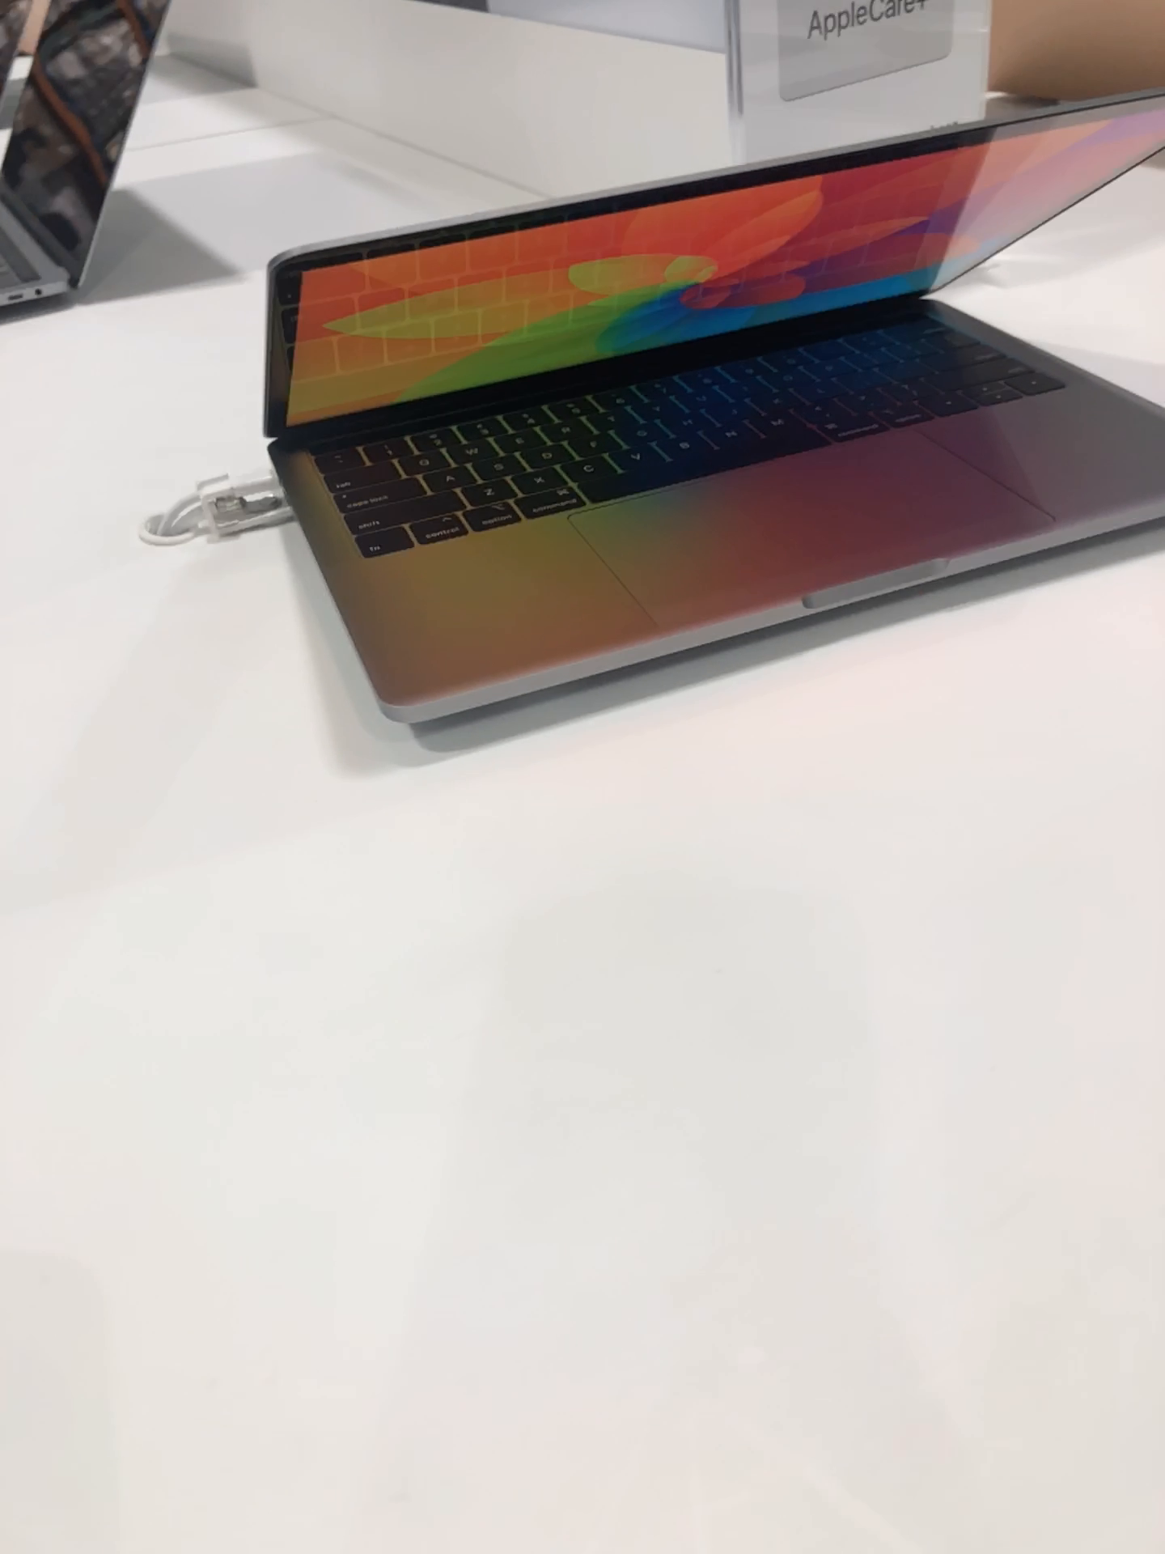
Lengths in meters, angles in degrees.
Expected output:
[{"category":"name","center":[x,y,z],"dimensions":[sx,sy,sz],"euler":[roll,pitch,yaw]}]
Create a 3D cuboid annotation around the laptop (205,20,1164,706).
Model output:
[{"category":"laptop","center":[0.050,-0.160,0.428],"dimensions":[0.296,0.109,0.211],"euler":[-16,38,-14]}]
